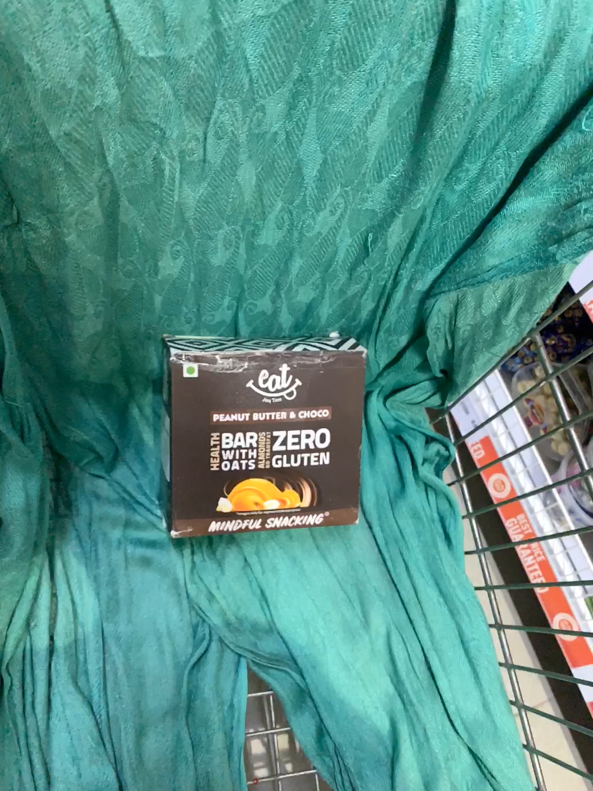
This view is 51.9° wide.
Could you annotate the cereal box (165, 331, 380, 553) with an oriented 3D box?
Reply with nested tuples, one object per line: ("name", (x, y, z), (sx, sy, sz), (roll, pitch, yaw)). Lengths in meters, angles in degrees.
("cereal box", (-0.024, 0.027, 0.455), (0.140, 0.090, 0.140), (-1, 102, -14))
